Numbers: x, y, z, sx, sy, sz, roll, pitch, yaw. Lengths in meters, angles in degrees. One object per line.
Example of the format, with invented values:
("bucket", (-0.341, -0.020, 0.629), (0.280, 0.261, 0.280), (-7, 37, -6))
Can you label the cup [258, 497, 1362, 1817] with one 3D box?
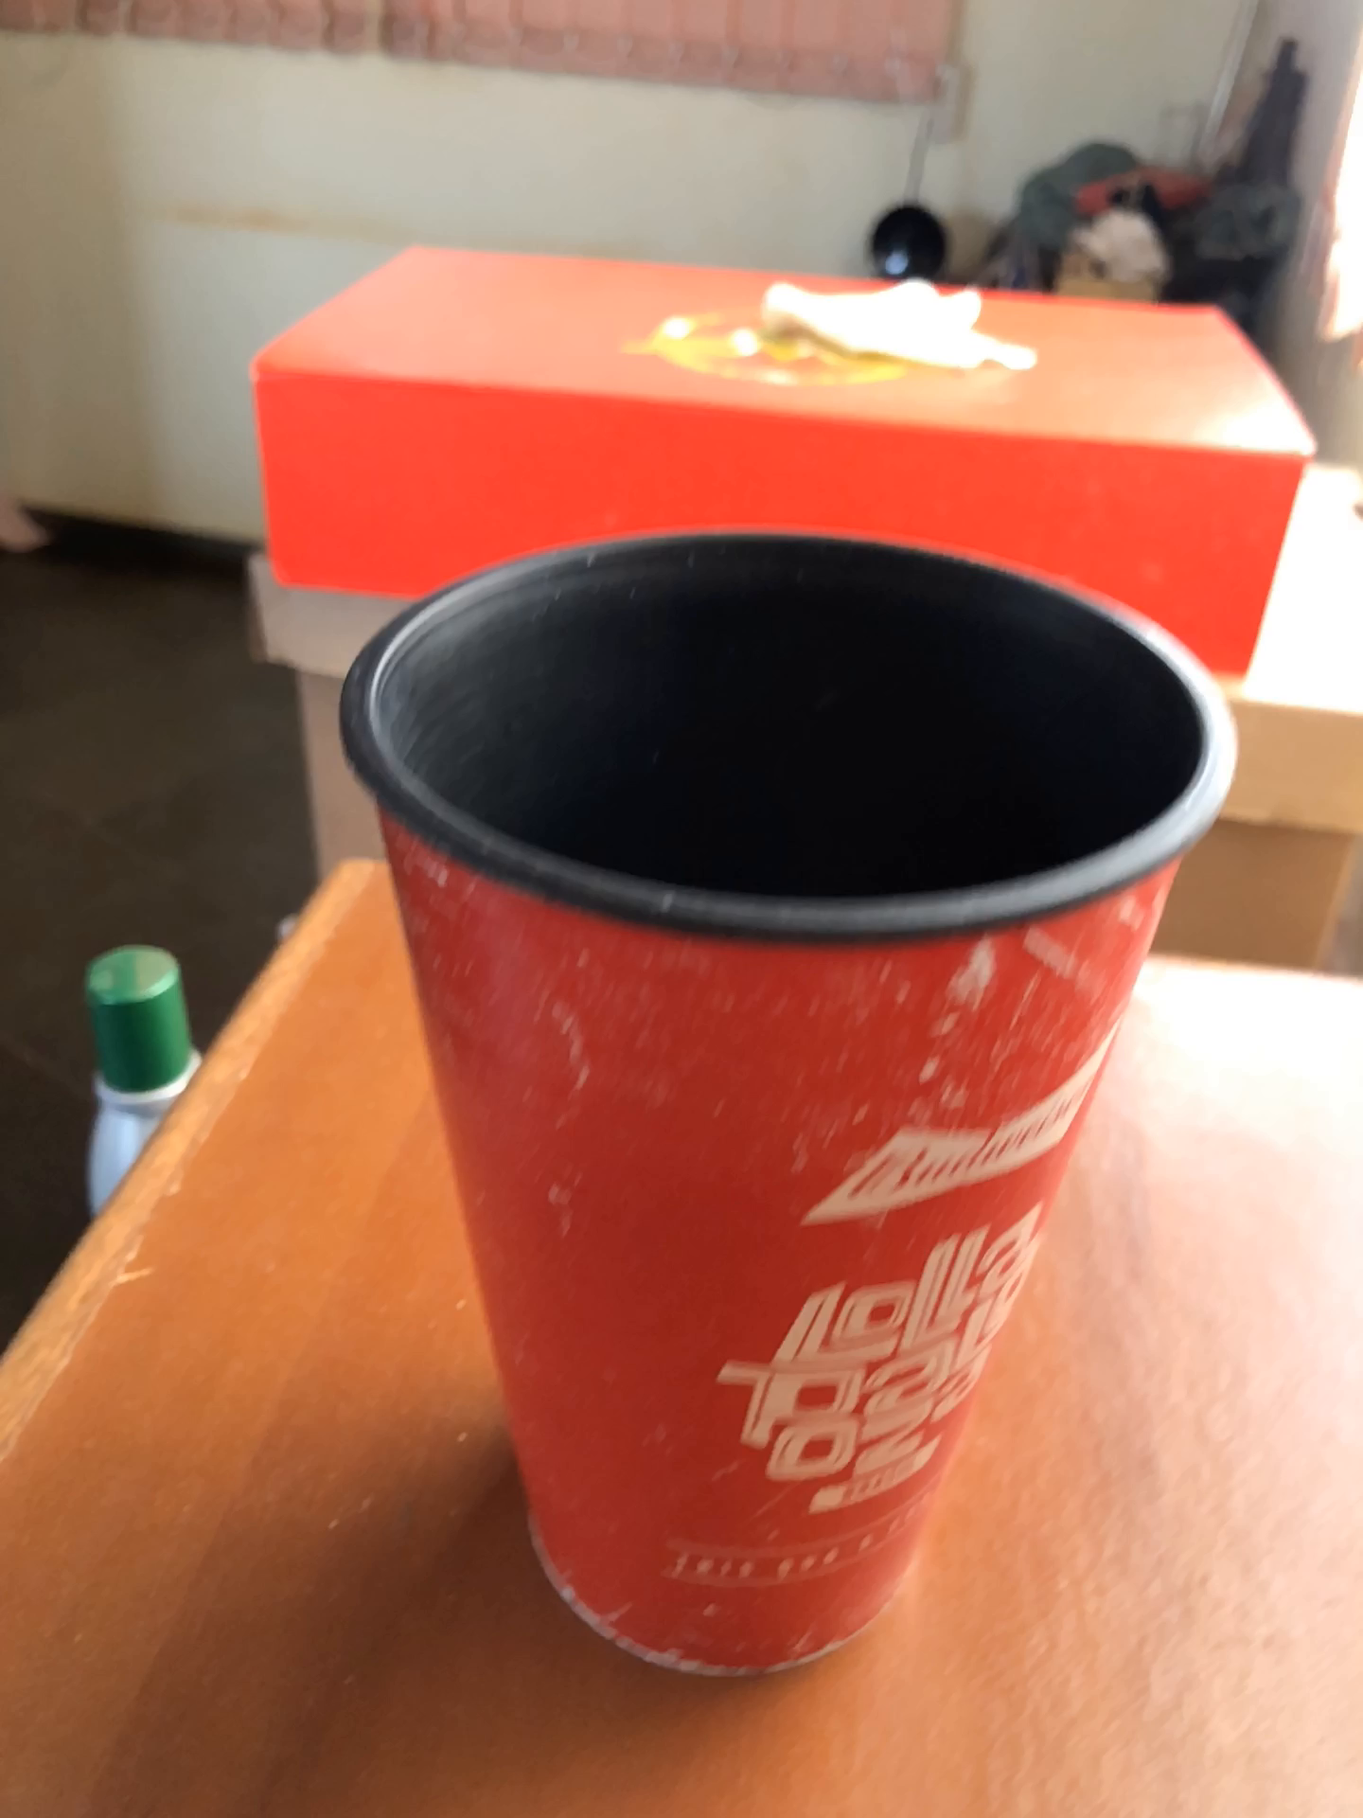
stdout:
("cup", (0.010, 0.032, 0.203), (0.100, 0.139, 0.091), (-11, 35, -23))
